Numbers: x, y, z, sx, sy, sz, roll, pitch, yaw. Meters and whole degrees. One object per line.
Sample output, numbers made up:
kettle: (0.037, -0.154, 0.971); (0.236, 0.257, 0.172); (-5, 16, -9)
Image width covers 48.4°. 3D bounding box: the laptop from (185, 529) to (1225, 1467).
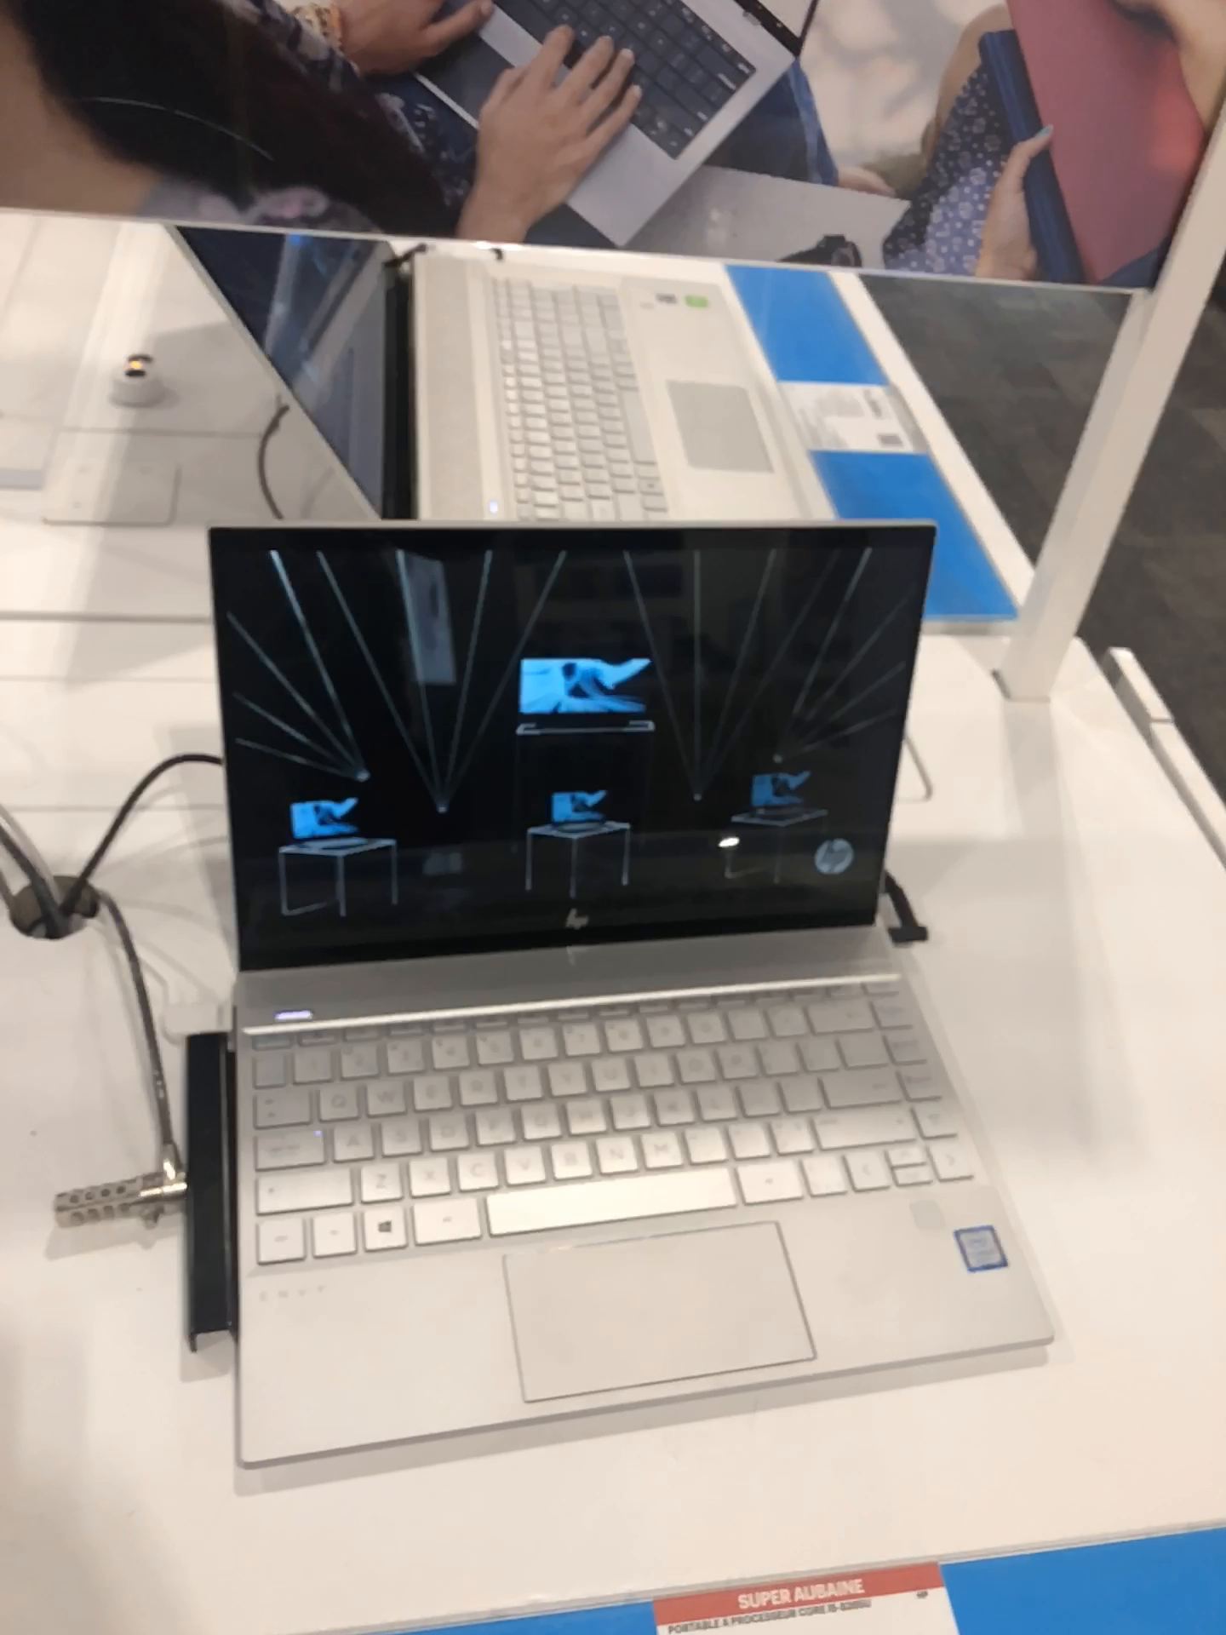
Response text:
laptop: (0.007, 0.046, 0.520); (0.298, 0.182, 0.273); (-3, 45, -13)
